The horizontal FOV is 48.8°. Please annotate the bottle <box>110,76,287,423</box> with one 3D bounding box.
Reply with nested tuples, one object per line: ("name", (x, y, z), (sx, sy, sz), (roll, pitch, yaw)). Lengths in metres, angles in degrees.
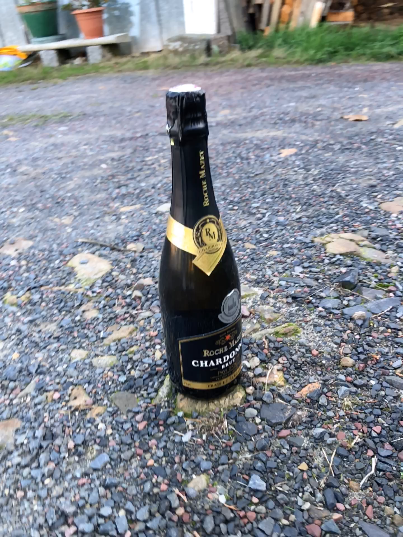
("bottle", (0.002, -0.013, 0.423), (0.100, 0.298, 0.100), (-2, 29, 1))
